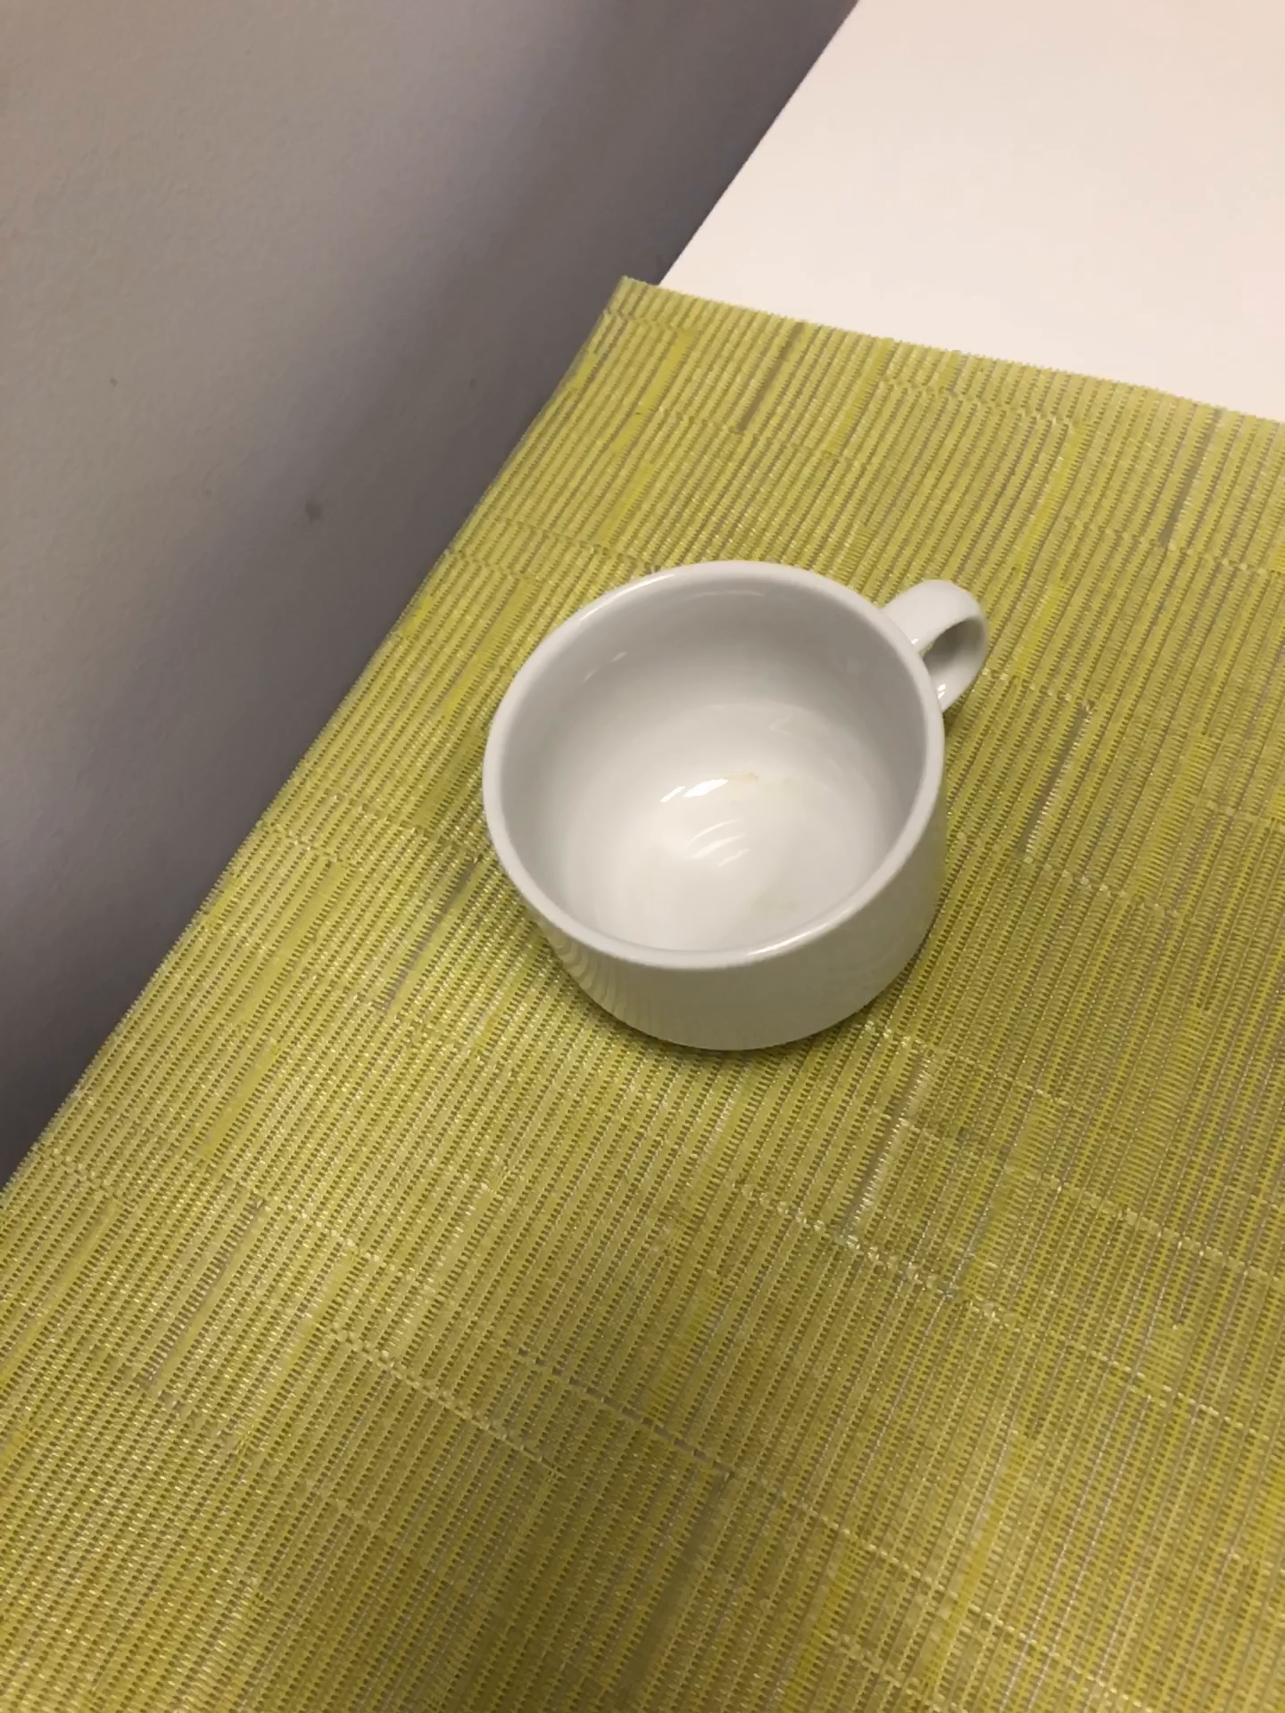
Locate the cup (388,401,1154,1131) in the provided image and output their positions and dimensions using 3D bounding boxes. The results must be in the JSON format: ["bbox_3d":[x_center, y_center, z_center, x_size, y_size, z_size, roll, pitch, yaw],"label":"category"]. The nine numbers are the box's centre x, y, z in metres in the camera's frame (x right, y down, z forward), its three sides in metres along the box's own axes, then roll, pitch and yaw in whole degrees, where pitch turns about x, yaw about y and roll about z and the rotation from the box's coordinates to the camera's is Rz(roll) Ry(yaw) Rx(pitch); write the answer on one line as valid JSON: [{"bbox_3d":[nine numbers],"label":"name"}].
[{"bbox_3d":[0.024,-0.018,0.280,0.110,0.057,0.086,-28,60,-2],"label":"cup"}]
